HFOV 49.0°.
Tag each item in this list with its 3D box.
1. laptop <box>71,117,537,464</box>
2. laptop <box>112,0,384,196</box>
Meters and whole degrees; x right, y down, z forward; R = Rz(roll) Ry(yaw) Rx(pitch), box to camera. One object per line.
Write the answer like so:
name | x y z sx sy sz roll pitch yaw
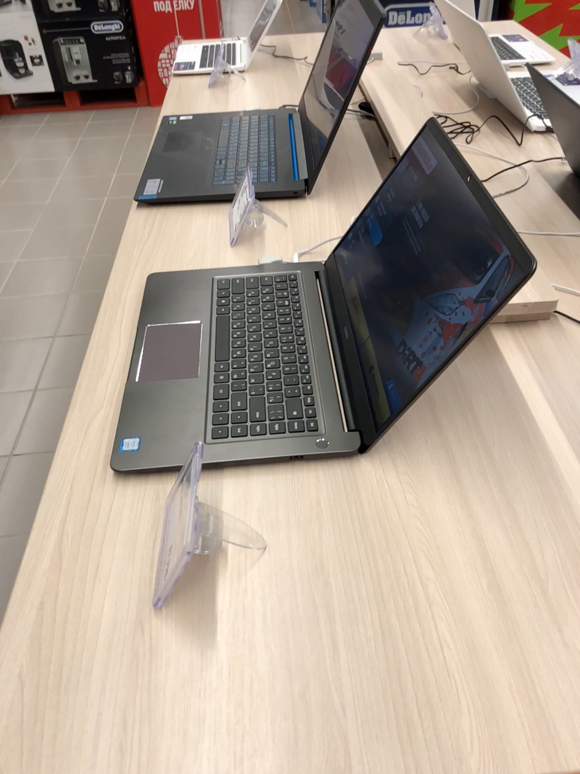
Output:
laptop | 0.005 -0.123 0.676 0.357 0.180 0.346 -5 40 -1
laptop | -0.061 -0.538 1.111 0.378 0.242 0.394 -3 40 0
